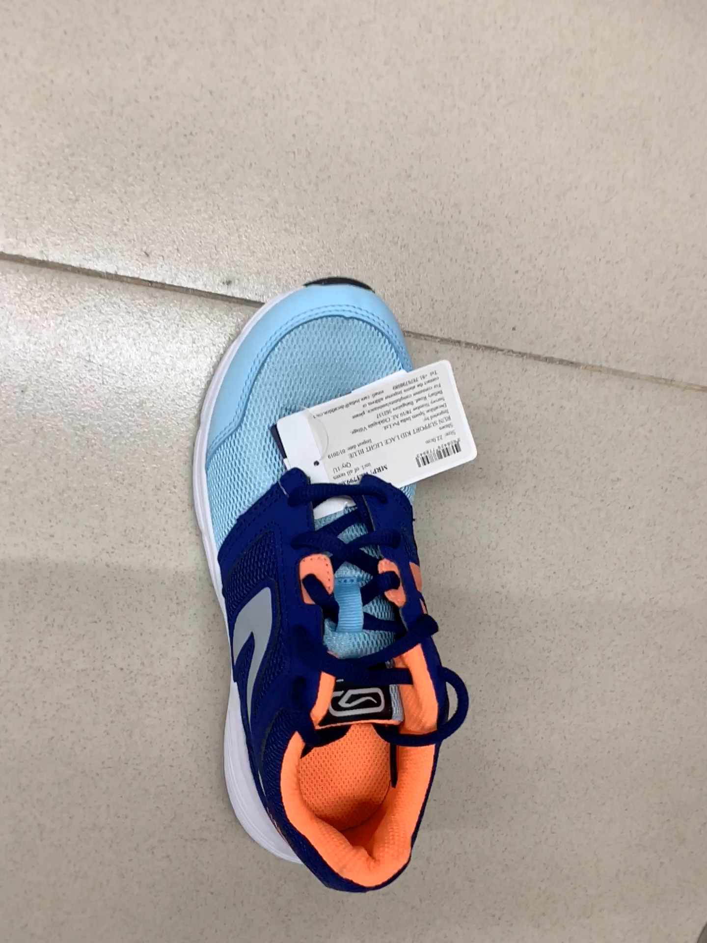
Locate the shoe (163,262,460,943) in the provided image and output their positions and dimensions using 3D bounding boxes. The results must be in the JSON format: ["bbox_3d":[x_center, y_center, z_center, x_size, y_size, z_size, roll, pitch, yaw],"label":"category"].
[{"bbox_3d":[-0.021,0.048,0.299,0.100,0.080,0.240,-2,92,-18],"label":"shoe"}]
